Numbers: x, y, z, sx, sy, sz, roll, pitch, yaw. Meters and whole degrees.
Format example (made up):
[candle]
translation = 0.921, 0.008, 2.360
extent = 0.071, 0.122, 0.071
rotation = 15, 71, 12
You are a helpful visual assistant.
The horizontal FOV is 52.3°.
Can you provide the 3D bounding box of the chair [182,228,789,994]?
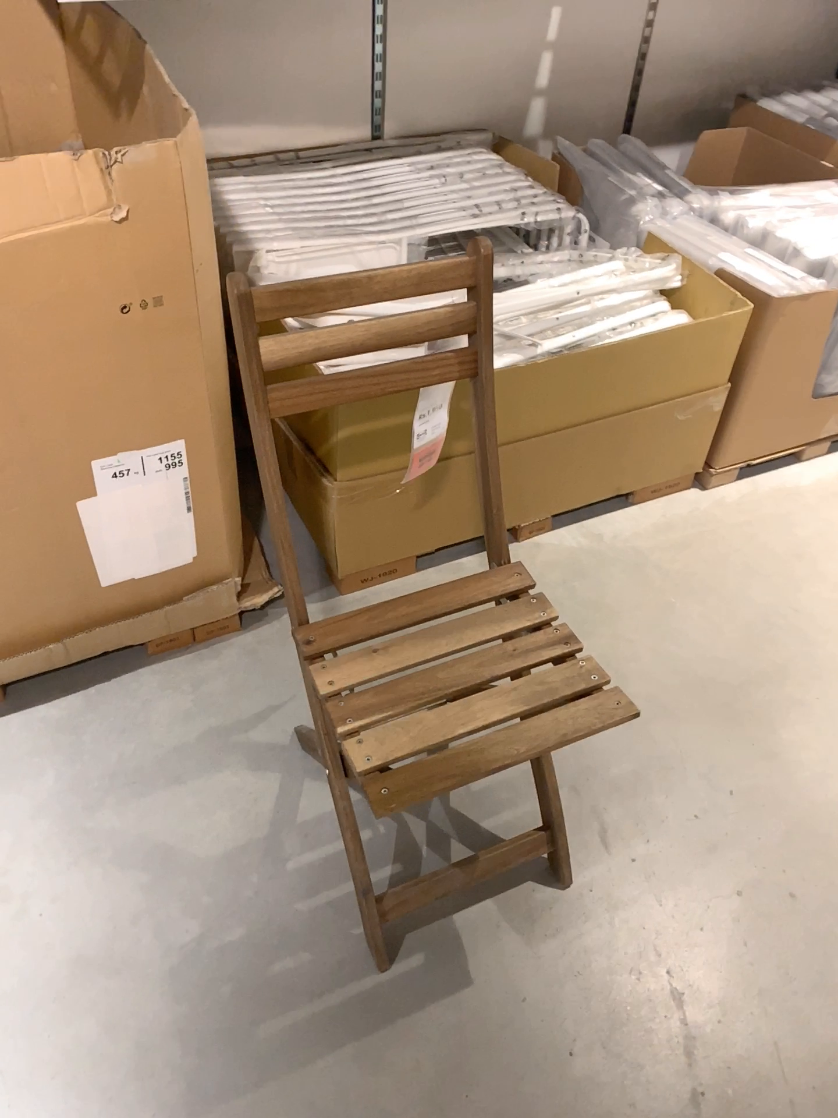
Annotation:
[chair]
translation = 0.012, 0.078, 1.098
extent = 0.400, 0.767, 0.512
rotation = -16, 46, -20
